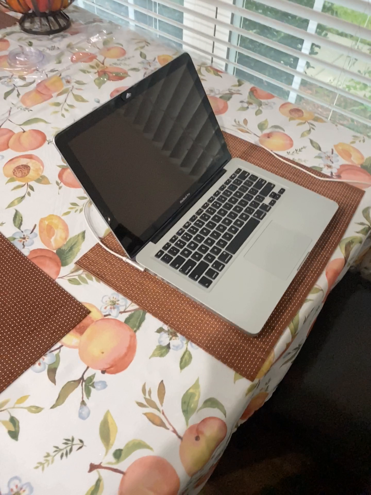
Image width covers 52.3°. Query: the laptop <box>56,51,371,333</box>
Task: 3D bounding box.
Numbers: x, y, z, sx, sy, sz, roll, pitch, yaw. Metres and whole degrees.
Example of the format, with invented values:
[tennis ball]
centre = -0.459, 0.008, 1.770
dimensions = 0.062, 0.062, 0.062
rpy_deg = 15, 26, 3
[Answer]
[laptop]
centre = 0.053, -0.116, 0.604
dimensions = 0.348, 0.162, 0.318
rpy_deg = 30, 58, 19
